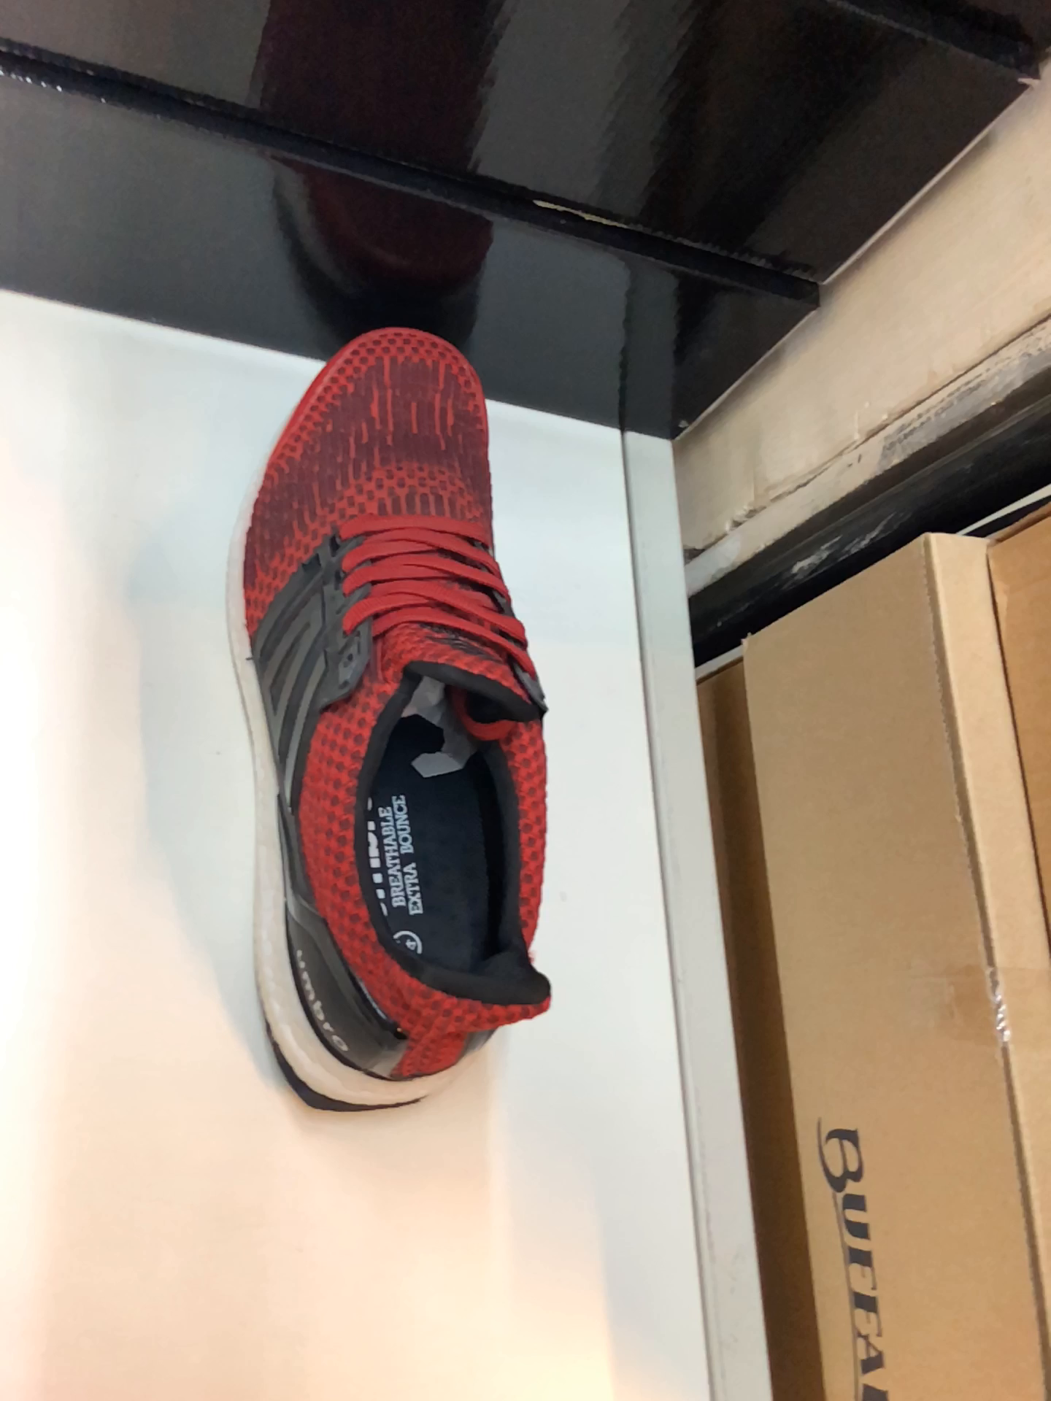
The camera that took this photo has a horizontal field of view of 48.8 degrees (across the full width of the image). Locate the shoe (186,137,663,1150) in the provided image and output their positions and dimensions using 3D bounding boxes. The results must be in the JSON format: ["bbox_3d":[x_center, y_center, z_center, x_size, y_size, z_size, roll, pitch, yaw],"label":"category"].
[{"bbox_3d":[-0.040,-0.014,0.381,0.111,0.108,0.286,5,73,-24],"label":"shoe"}]
